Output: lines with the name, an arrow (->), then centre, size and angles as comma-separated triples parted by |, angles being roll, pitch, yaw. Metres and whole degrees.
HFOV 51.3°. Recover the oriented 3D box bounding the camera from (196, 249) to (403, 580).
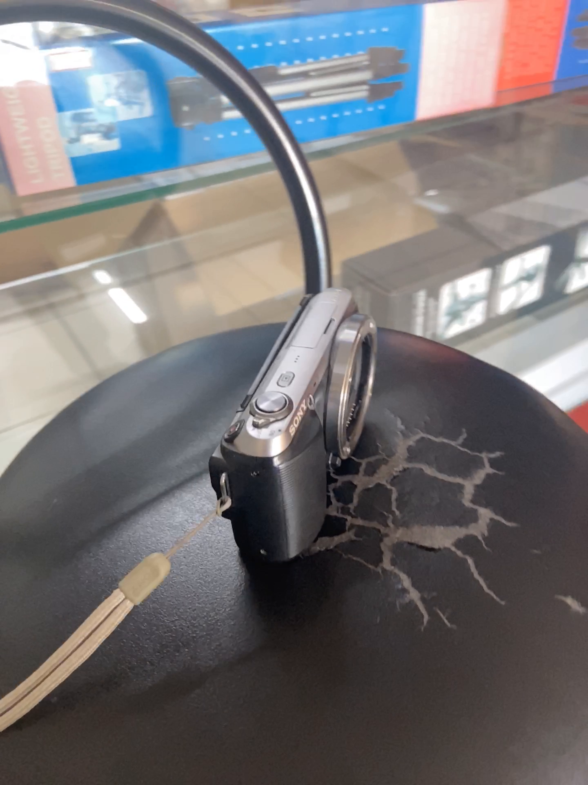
camera -> 0.010, 0.000, 0.236 | 0.040, 0.060, 0.121 | 9, 39, 16
